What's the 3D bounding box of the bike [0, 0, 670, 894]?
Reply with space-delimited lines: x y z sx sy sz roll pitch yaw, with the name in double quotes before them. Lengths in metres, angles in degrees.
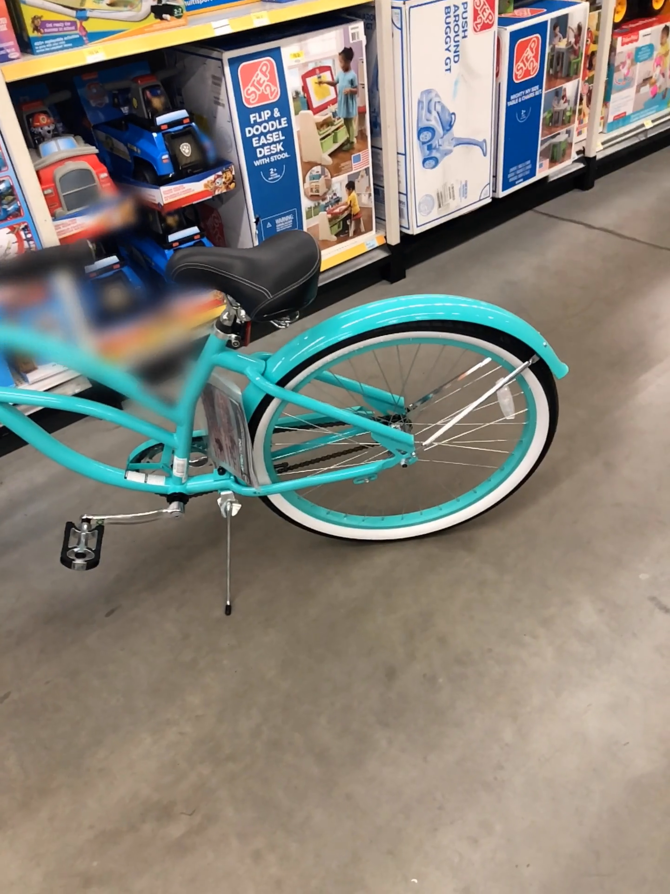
"bike" -0.338 -0.014 1.195 1.491 1.143 0.762 -16 39 -6
